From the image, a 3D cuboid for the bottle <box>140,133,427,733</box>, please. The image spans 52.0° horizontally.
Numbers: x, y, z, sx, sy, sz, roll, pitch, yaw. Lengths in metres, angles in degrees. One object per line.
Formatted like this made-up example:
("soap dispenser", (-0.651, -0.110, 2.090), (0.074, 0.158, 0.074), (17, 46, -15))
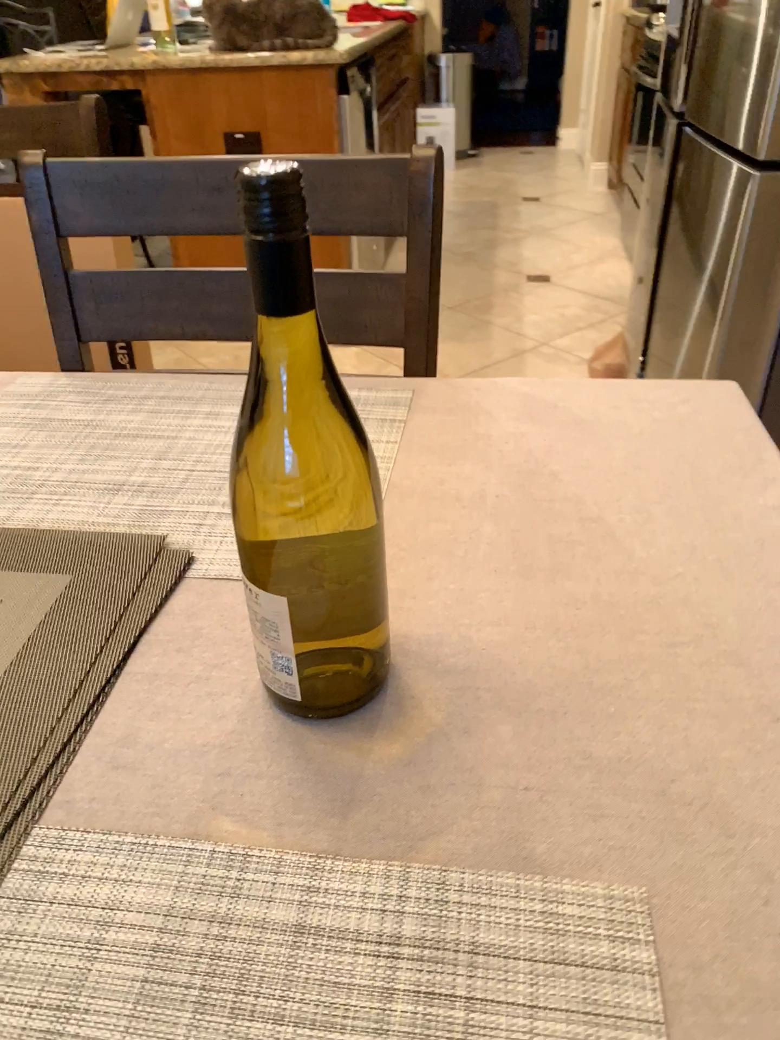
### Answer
("bottle", (-0.037, -0.033, 0.423), (0.090, 0.298, 0.090), (-2, 34, 1))
